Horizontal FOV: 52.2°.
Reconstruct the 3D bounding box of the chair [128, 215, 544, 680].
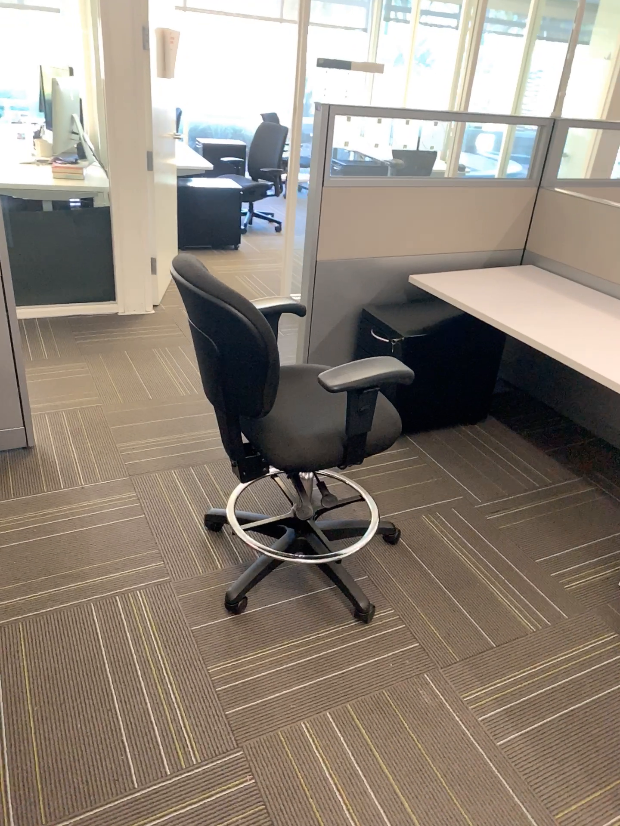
[{"bbox_3d":[-0.013,0.012,1.920,0.821,1.004,0.804,-10,32,-27],"label":"chair"}]
